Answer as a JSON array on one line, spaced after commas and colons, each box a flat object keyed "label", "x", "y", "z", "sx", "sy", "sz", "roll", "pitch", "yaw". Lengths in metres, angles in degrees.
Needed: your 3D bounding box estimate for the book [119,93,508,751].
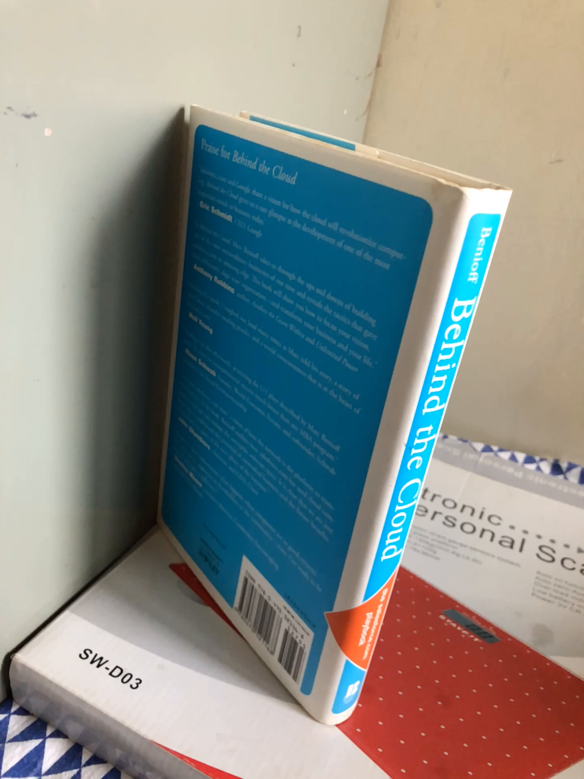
[{"label": "book", "x": -0.021, "y": 0.003, "z": 0.303, "sx": 0.040, "sy": 0.239, "sz": 0.190, "roll": -13, "pitch": 32, "yaw": -36}]
